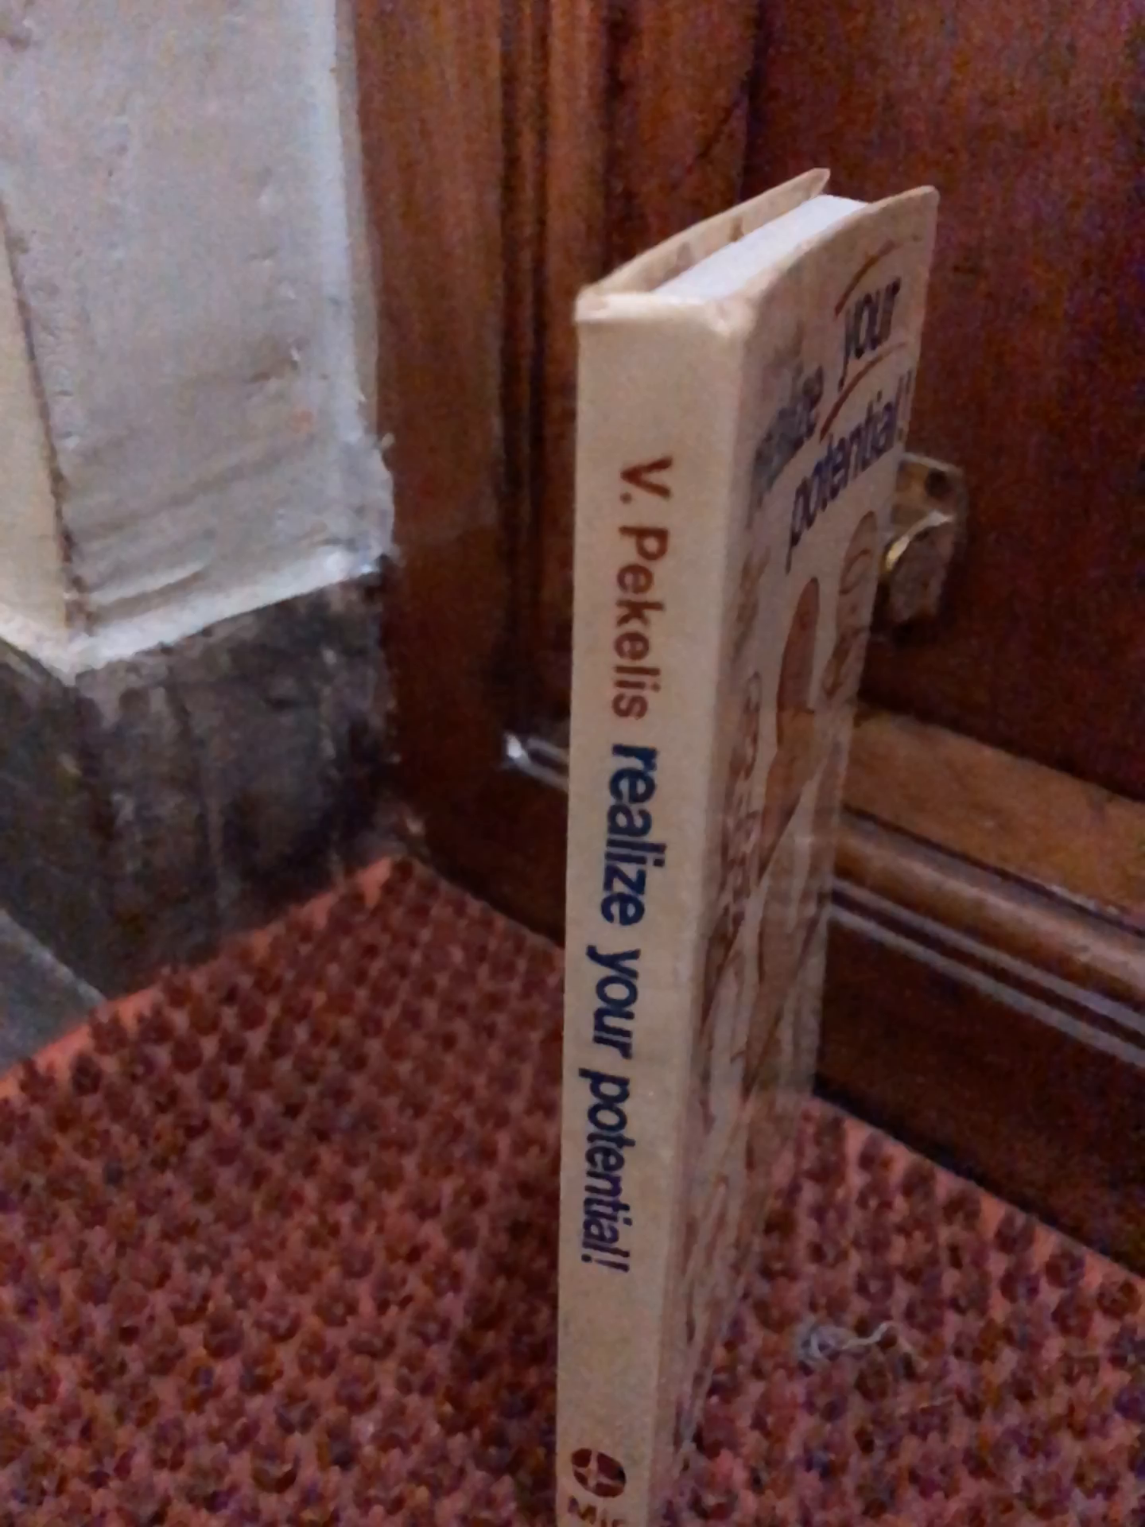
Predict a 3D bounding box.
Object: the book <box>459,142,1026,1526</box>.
[{"bbox_3d":[0.035,0.013,0.226,0.030,0.209,0.151,13,32,22],"label":"book"}]
